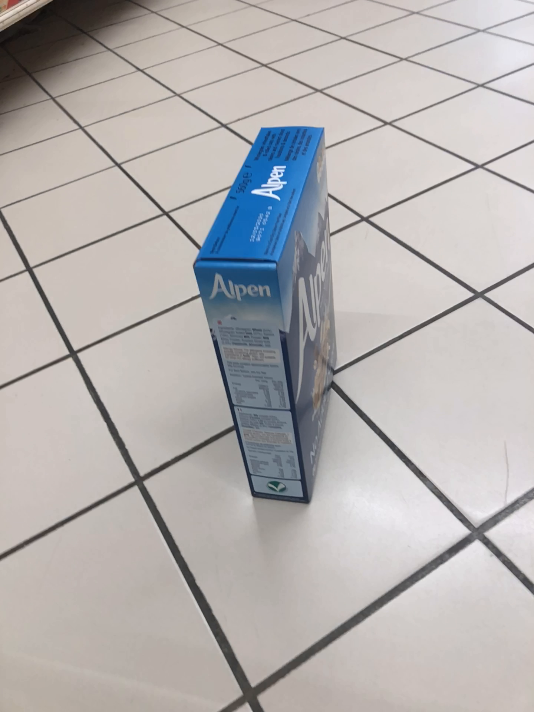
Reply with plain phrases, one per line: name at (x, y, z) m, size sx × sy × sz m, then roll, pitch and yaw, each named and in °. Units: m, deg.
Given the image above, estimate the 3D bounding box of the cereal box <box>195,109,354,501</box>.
cereal box at (0.024, -0.035, 0.446) m, size 0.060 × 0.229 × 0.181 m, roll 4°, pitch 45°, yaw 14°
